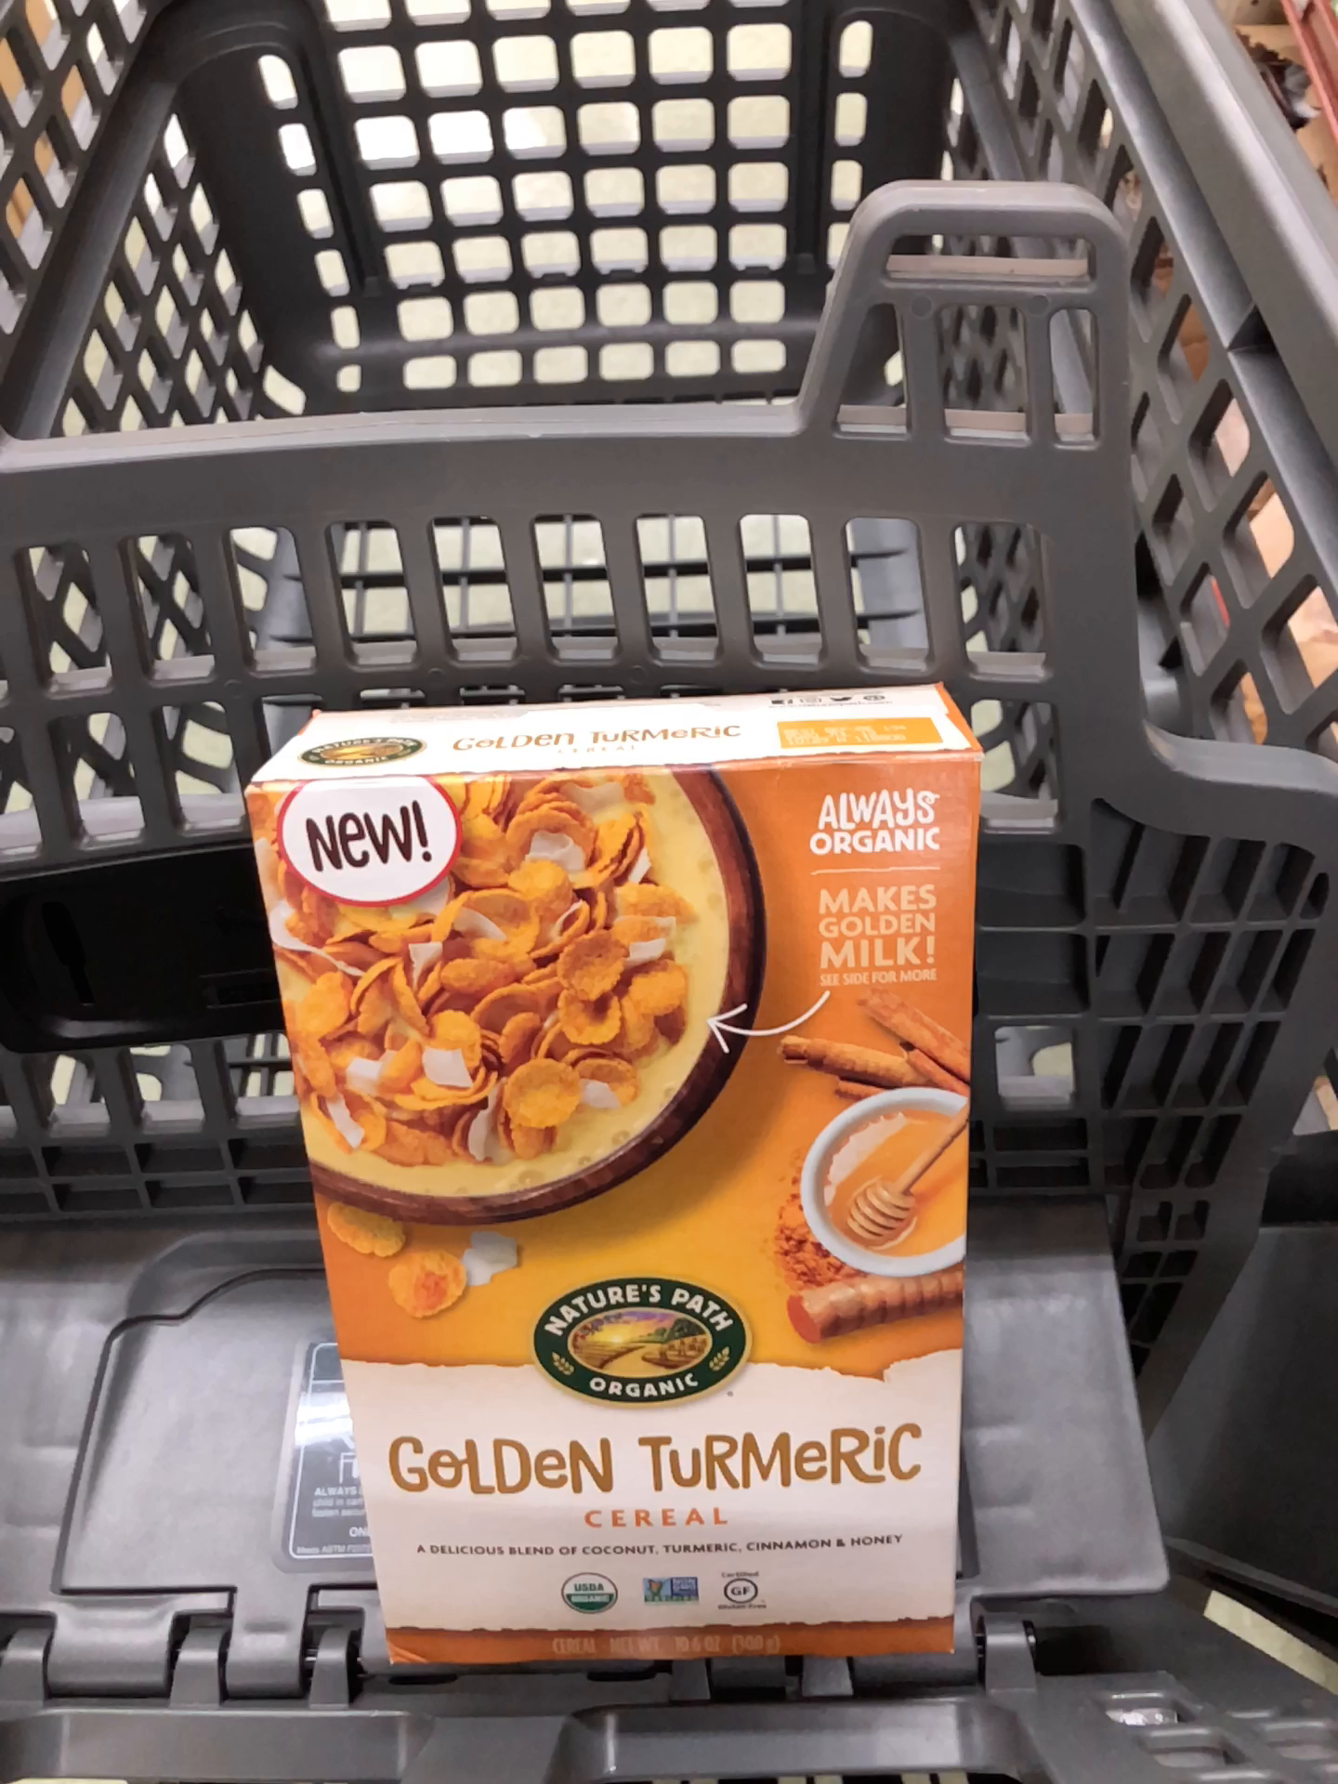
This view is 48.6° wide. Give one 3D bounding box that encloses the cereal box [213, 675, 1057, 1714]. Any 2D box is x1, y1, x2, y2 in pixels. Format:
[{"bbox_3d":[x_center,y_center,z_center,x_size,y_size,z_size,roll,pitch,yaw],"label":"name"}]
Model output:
[{"bbox_3d":[-0.002,0.086,0.394,0.180,0.270,0.070,-2,20,2],"label":"cereal box"}]
